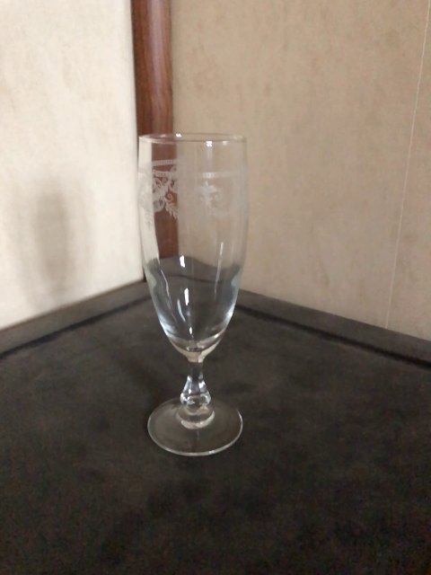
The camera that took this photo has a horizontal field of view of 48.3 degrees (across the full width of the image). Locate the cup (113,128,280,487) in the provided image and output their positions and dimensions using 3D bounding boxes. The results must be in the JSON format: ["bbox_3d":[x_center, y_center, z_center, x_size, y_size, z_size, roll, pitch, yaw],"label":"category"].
[{"bbox_3d":[-0.005,0.008,0.249,0.060,0.169,0.060,0,20,0],"label":"cup"}]
